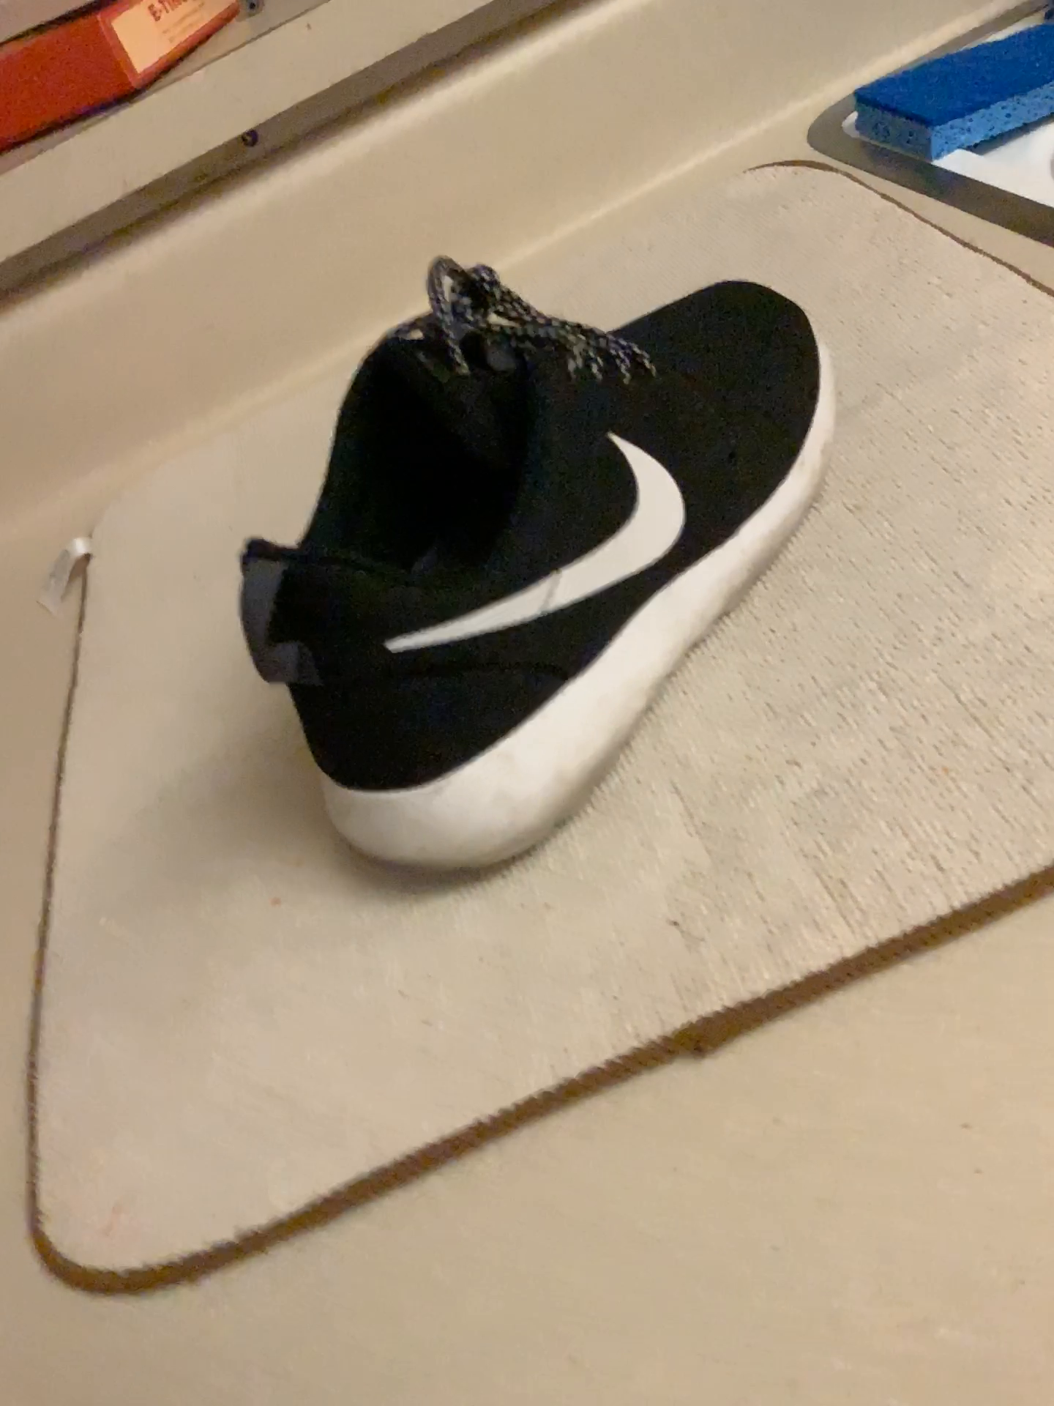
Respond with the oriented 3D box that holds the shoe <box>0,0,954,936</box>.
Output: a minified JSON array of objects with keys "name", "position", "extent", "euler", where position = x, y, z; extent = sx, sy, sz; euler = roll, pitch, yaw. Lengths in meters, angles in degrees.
[{"name":"shoe","position":[0.011,-0.094,0.358],"extent":[0.130,0.120,0.280],"euler":[12,54,37]}]
